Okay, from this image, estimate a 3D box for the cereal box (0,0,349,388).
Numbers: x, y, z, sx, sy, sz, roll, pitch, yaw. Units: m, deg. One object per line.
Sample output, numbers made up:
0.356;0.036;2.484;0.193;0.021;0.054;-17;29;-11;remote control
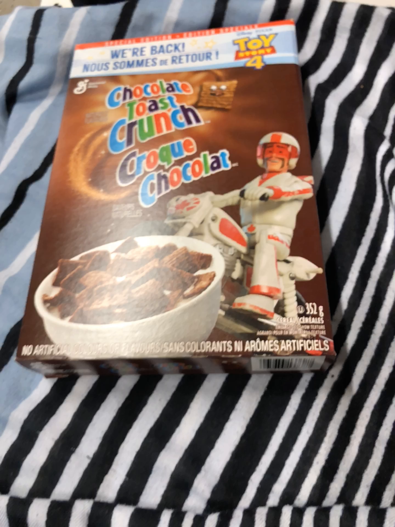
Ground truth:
-0.018;-0.064;0.348;0.210;0.060;0.300;-3;66;6;cereal box
